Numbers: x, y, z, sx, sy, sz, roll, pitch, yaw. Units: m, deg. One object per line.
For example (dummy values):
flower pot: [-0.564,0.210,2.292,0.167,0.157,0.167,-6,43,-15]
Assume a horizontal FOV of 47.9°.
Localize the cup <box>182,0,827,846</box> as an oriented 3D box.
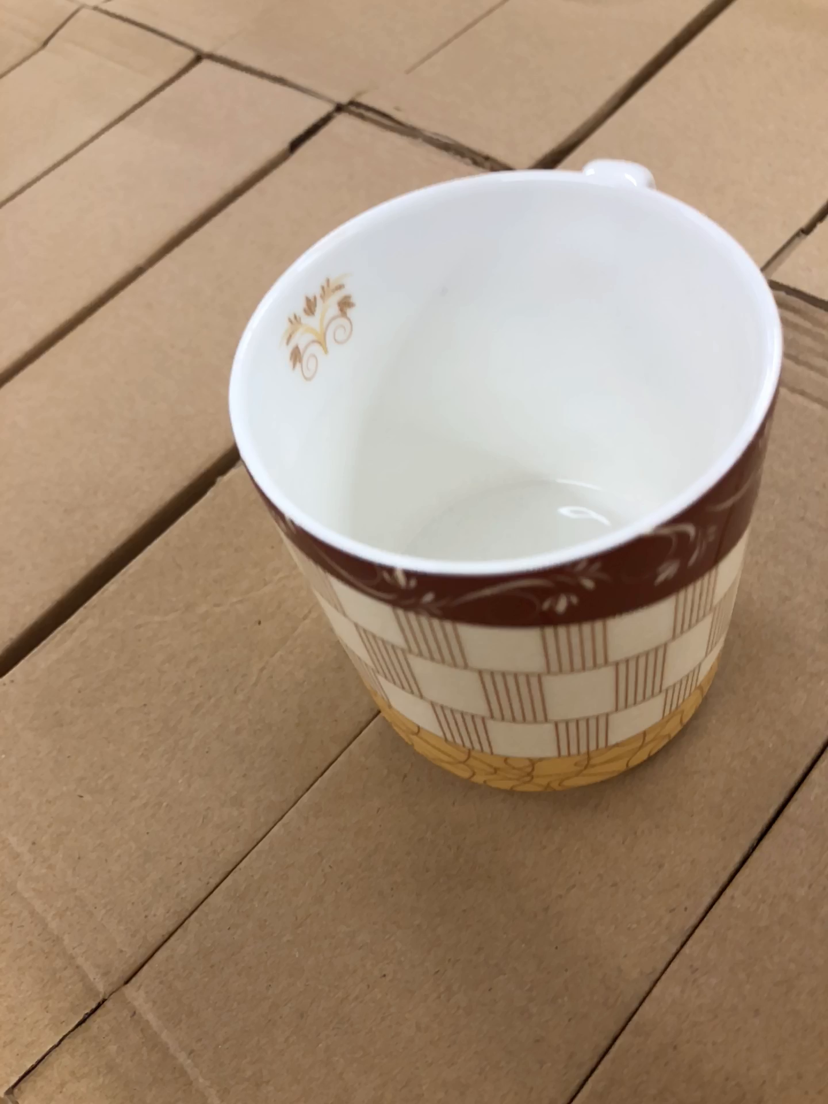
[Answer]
cup: [0.028,-0.022,0.145,0.070,0.080,0.100,7,60,16]
